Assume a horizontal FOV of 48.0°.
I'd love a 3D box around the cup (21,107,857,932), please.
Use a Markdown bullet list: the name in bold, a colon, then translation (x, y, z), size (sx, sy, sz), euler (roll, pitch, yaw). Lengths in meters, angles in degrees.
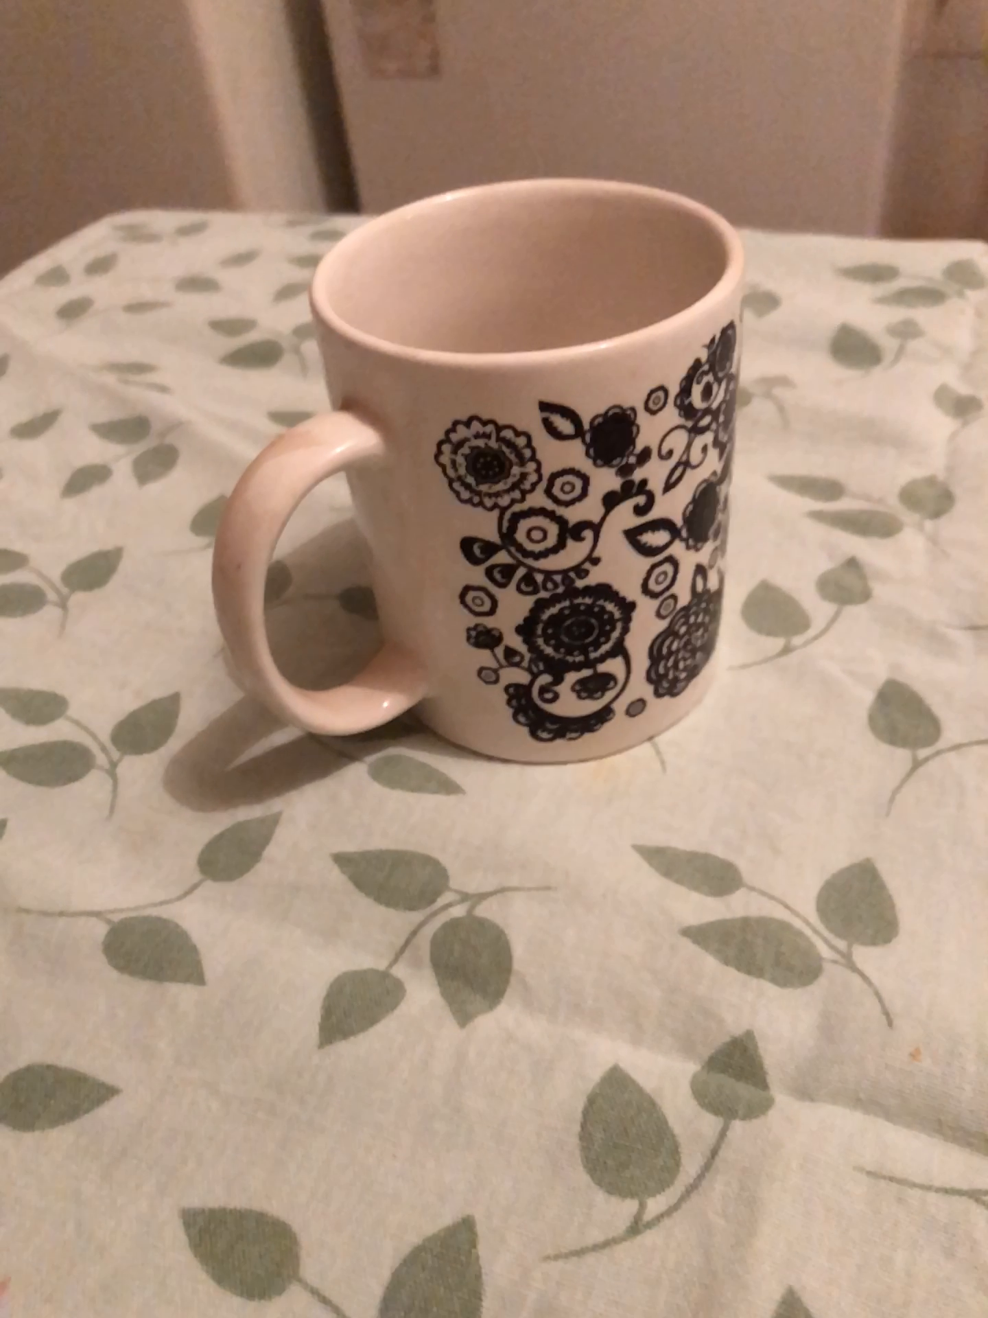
- **cup**: translation (-0.005, -0.034, 0.223), size (0.120, 0.099, 0.080), euler (-32, 48, -25)
